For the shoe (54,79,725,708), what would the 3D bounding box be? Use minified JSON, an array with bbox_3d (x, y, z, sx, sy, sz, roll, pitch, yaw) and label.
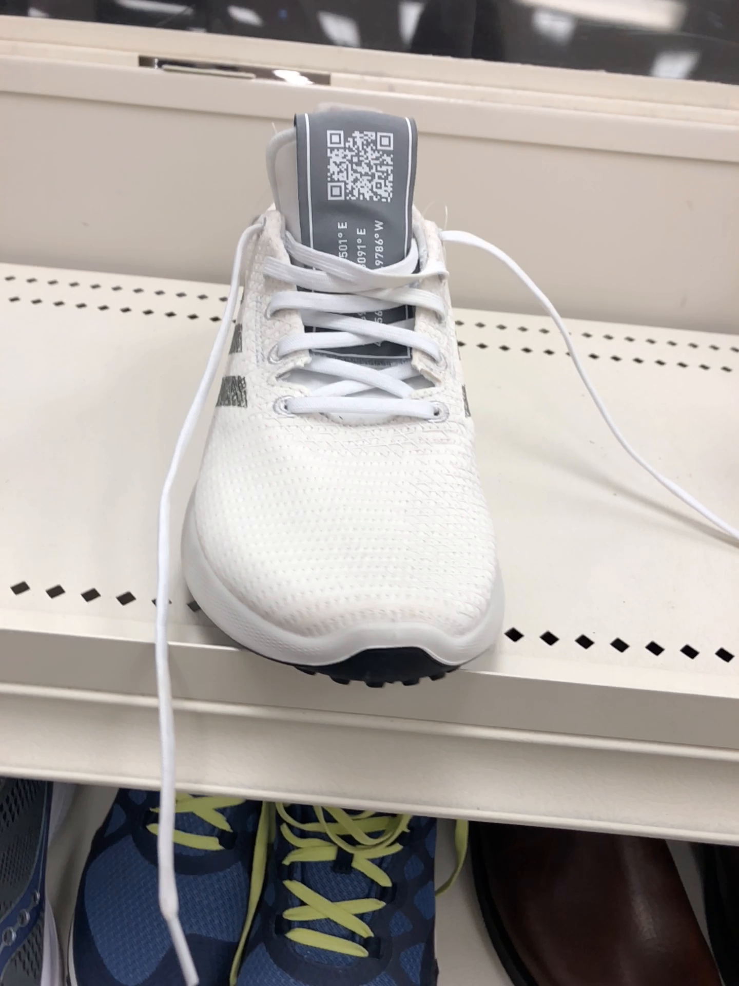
[{"bbox_3d":[-0.013,-0.094,0.356,0.128,0.139,0.383,3,27,-6],"label":"shoe"}]
